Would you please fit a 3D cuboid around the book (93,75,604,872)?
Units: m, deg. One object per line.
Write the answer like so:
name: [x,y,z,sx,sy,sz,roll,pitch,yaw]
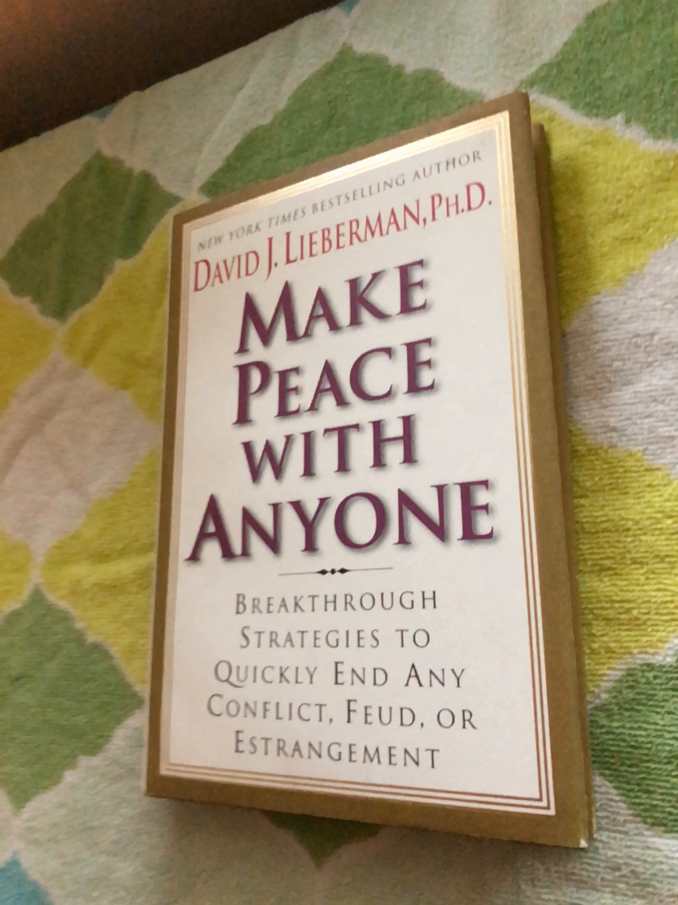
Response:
book: [-0.005,0.004,0.236,0.146,0.030,0.204,-8,73,29]
